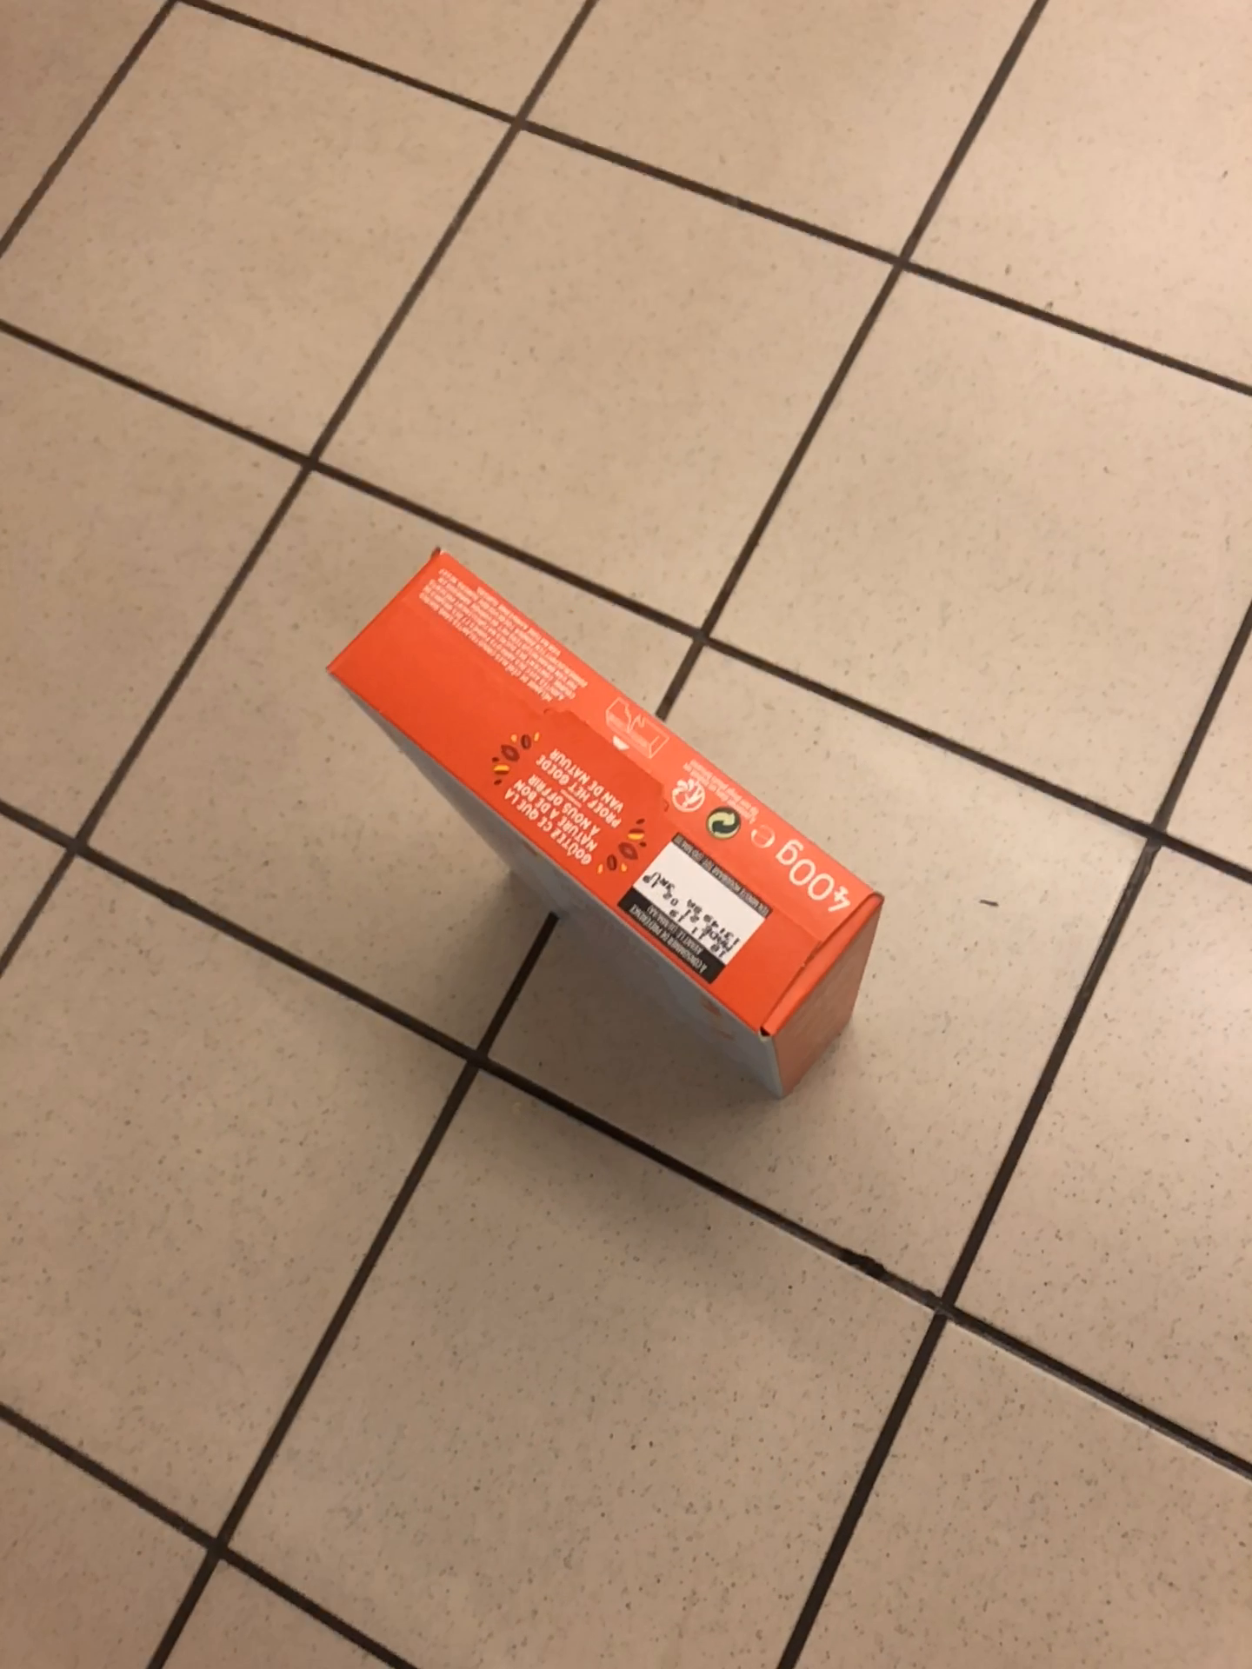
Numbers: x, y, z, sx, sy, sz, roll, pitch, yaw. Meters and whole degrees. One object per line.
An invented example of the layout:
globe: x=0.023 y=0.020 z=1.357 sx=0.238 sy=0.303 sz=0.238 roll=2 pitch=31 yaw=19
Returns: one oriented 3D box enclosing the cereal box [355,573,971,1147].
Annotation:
cereal box: x=0.019 y=0.027 z=0.437 sx=0.150 sy=0.230 sz=0.050 roll=39 pitch=84 yaw=14
